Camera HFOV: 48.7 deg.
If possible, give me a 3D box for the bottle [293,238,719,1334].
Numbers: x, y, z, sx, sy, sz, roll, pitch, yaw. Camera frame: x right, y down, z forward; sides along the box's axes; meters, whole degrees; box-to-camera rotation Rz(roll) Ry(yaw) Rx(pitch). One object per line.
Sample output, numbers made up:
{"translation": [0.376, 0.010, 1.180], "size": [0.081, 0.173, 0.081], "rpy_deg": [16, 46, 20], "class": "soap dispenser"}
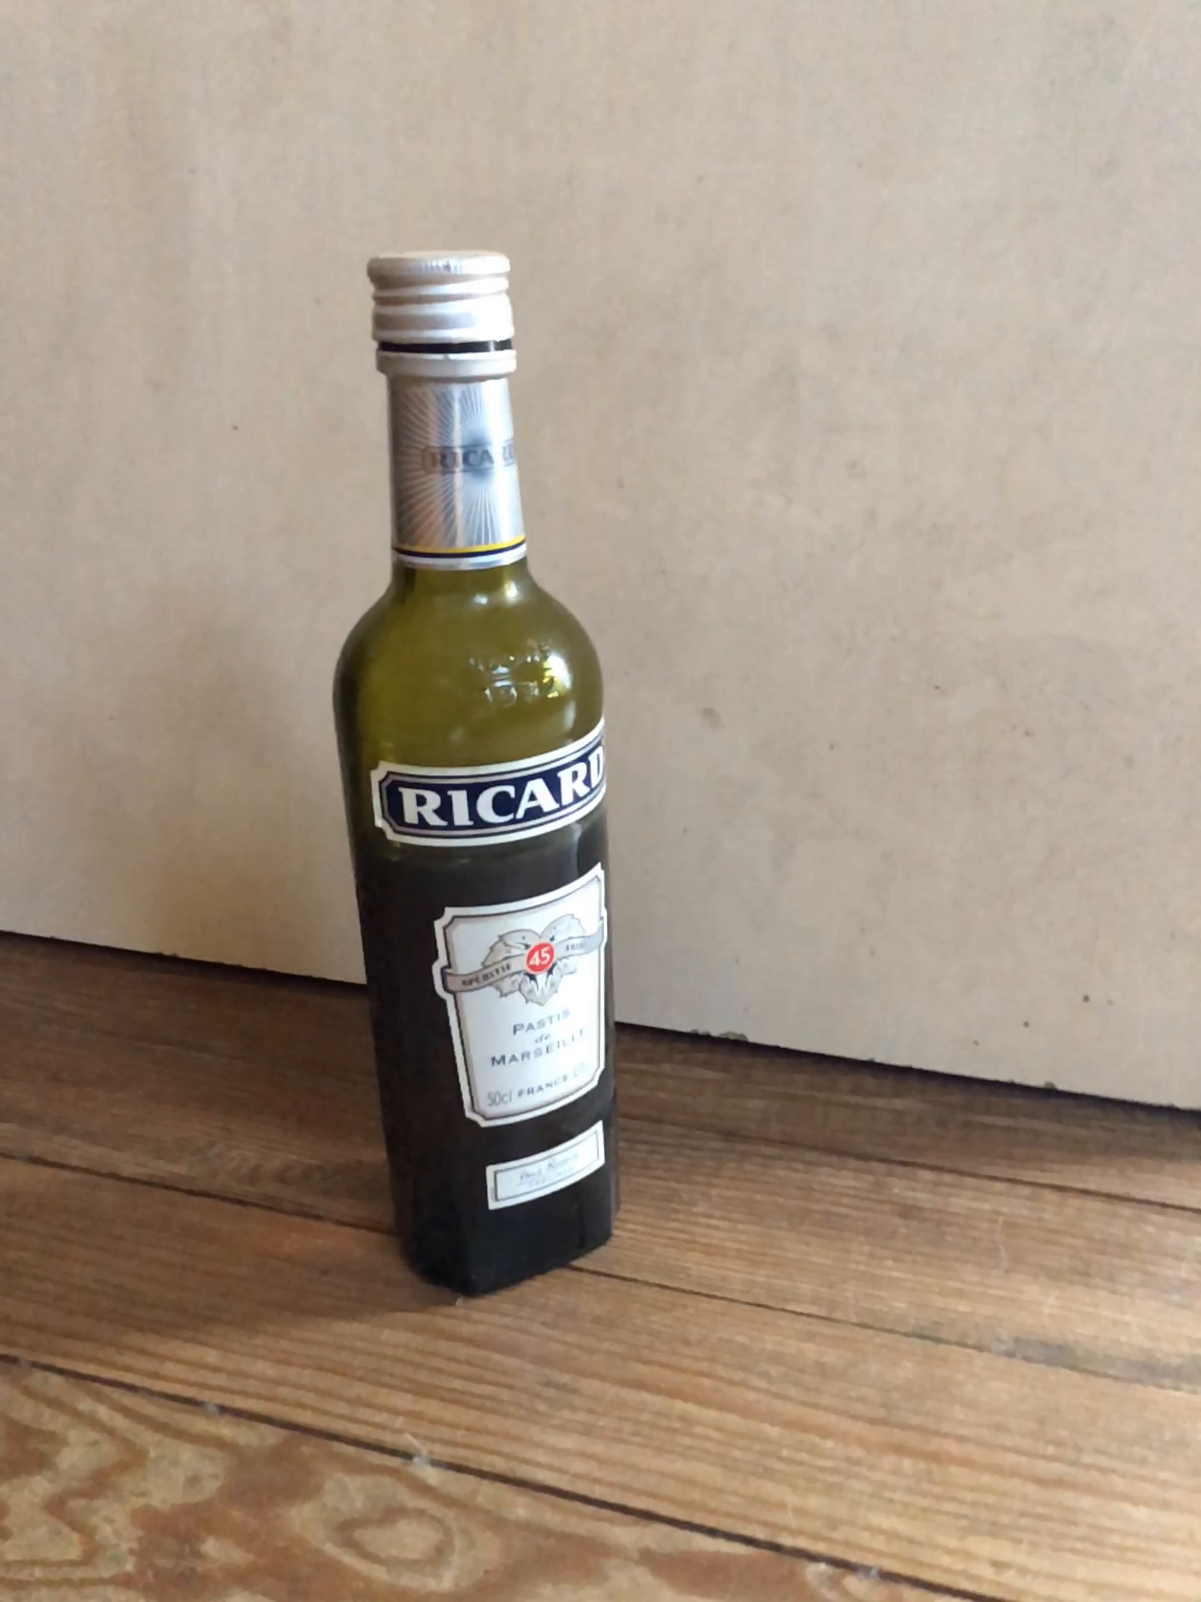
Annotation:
{"translation": [-0.019, 0.001, 0.331], "size": [0.070, 0.259, 0.060], "rpy_deg": [-14, 27, -27], "class": "bottle"}
